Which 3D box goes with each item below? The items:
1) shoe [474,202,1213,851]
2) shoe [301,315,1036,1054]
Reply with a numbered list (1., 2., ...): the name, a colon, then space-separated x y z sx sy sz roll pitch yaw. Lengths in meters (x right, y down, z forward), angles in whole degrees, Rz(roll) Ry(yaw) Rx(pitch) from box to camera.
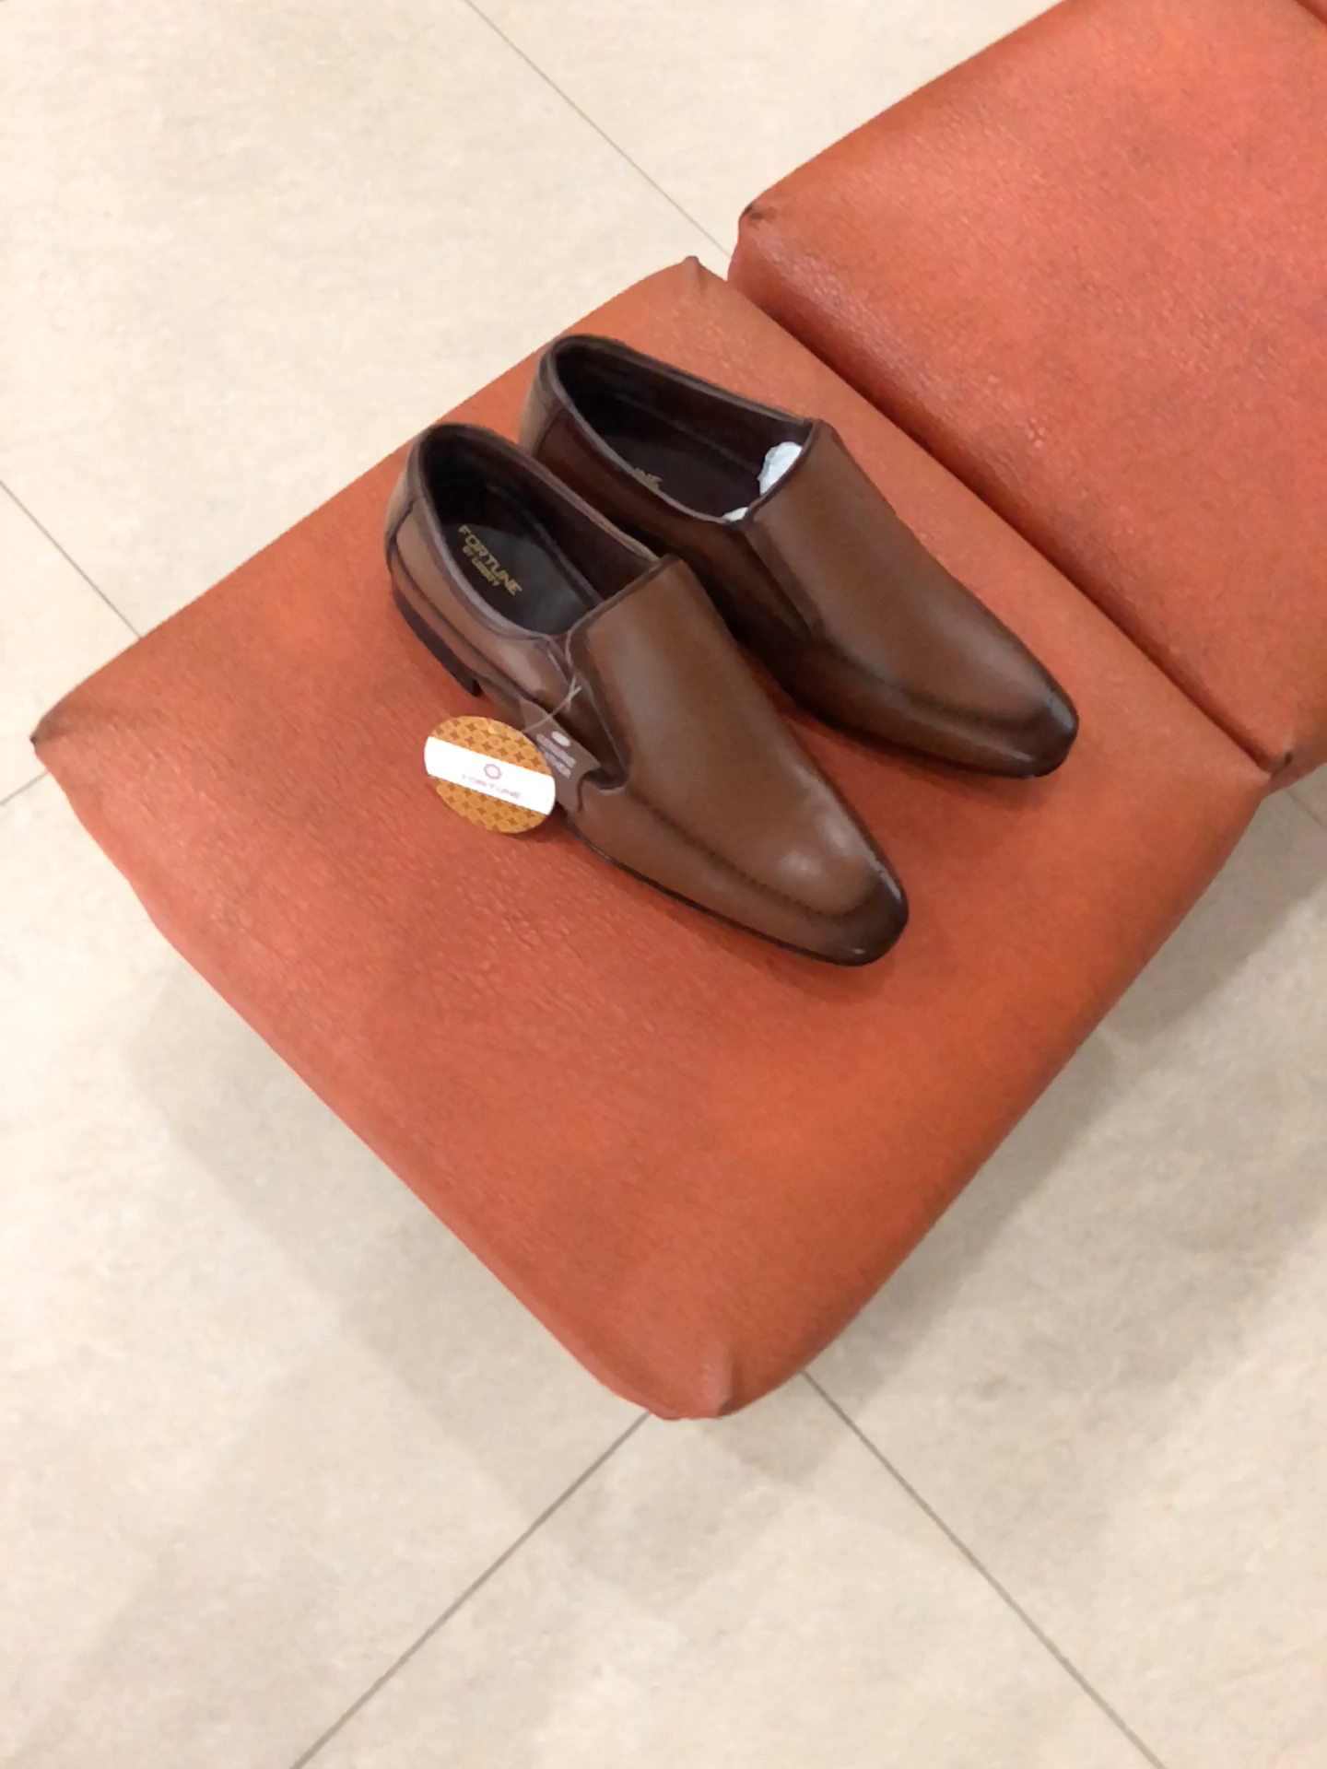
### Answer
1. shoe: 0.069 -0.153 0.646 0.295 0.108 0.101 33 69 4
2. shoe: -0.007 -0.078 0.618 0.293 0.128 0.099 43 71 7
